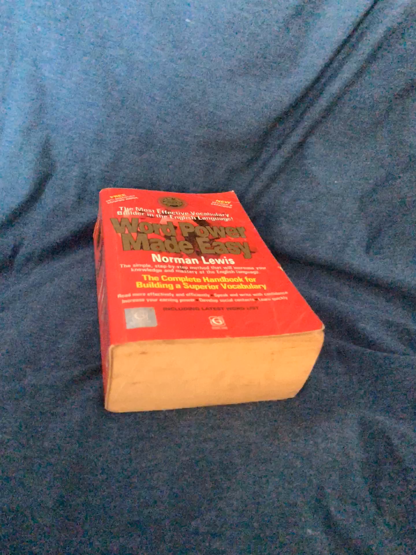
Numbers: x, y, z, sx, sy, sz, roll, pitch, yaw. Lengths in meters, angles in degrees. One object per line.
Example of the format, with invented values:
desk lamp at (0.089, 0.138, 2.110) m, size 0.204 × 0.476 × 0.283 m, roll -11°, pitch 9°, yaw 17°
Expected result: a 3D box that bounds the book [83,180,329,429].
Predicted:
book at (-0.021, 0.001, 0.297) m, size 0.120 × 0.050 × 0.191 m, roll 0°, pitch 36°, yaw -18°
